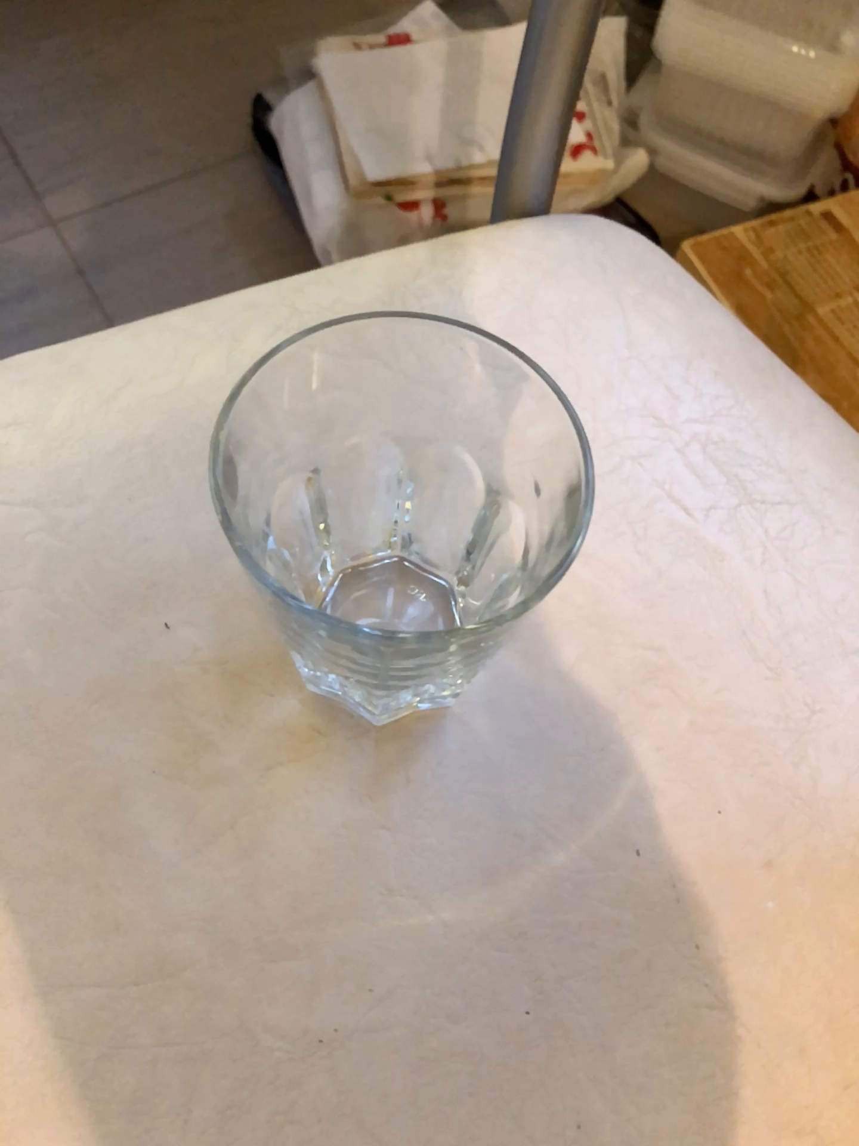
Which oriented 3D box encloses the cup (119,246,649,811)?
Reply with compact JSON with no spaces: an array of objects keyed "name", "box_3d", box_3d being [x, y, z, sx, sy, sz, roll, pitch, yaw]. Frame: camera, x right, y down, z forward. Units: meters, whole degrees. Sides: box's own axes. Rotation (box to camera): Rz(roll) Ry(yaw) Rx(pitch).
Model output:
[{"name":"cup","box_3d":[-0.013,-0.006,0.247,0.080,0.100,0.080,2,64,-3]}]
